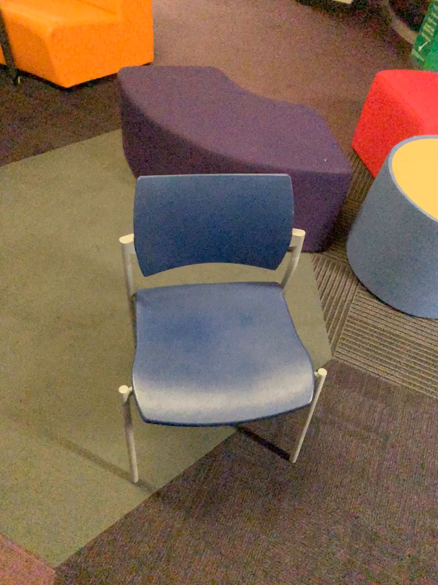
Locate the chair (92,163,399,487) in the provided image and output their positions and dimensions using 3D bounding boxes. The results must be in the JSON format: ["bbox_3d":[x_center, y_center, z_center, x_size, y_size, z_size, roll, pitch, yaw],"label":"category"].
[{"bbox_3d":[-0.002,0.108,1.242,0.560,0.694,0.574,-3,51,-8],"label":"chair"}]
